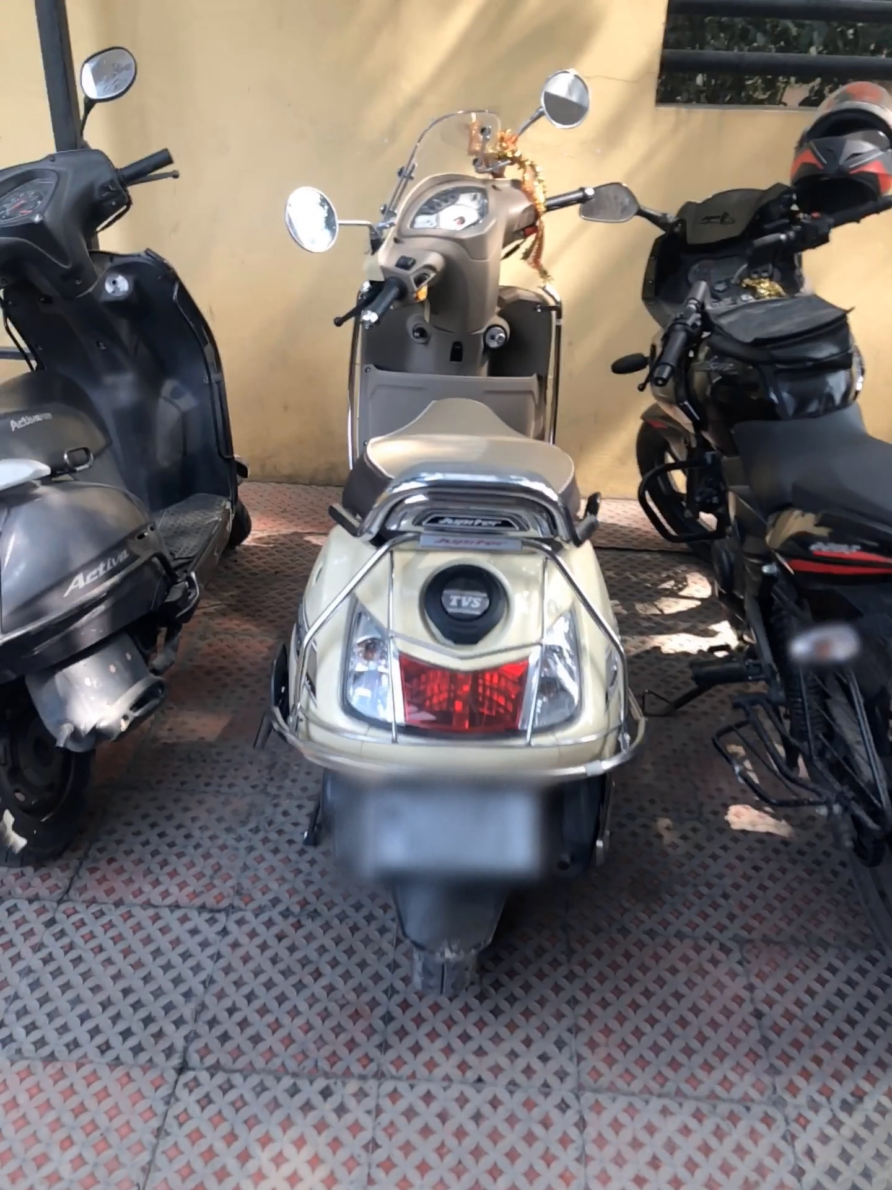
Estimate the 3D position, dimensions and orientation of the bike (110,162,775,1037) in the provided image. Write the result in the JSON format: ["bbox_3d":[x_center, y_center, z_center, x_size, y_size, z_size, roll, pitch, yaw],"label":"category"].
[{"bbox_3d":[-0.102,-0.196,1.899,0.644,0.998,1.636,-1,30,-5],"label":"bike"}]
